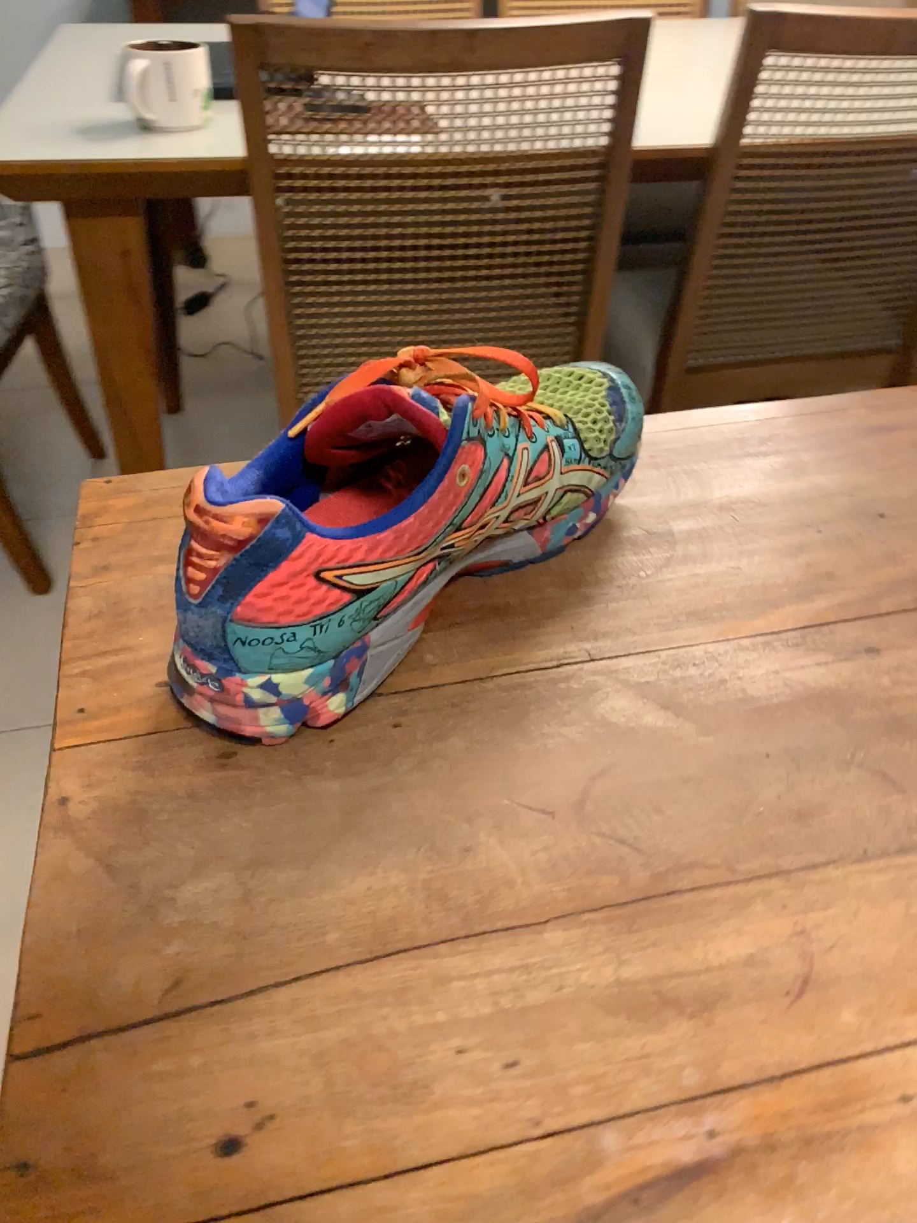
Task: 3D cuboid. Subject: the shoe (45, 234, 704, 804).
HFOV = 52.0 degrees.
[{"bbox_3d":[-0.014,-0.070,0.452,0.110,0.118,0.311,27,46,28],"label":"shoe"}]
